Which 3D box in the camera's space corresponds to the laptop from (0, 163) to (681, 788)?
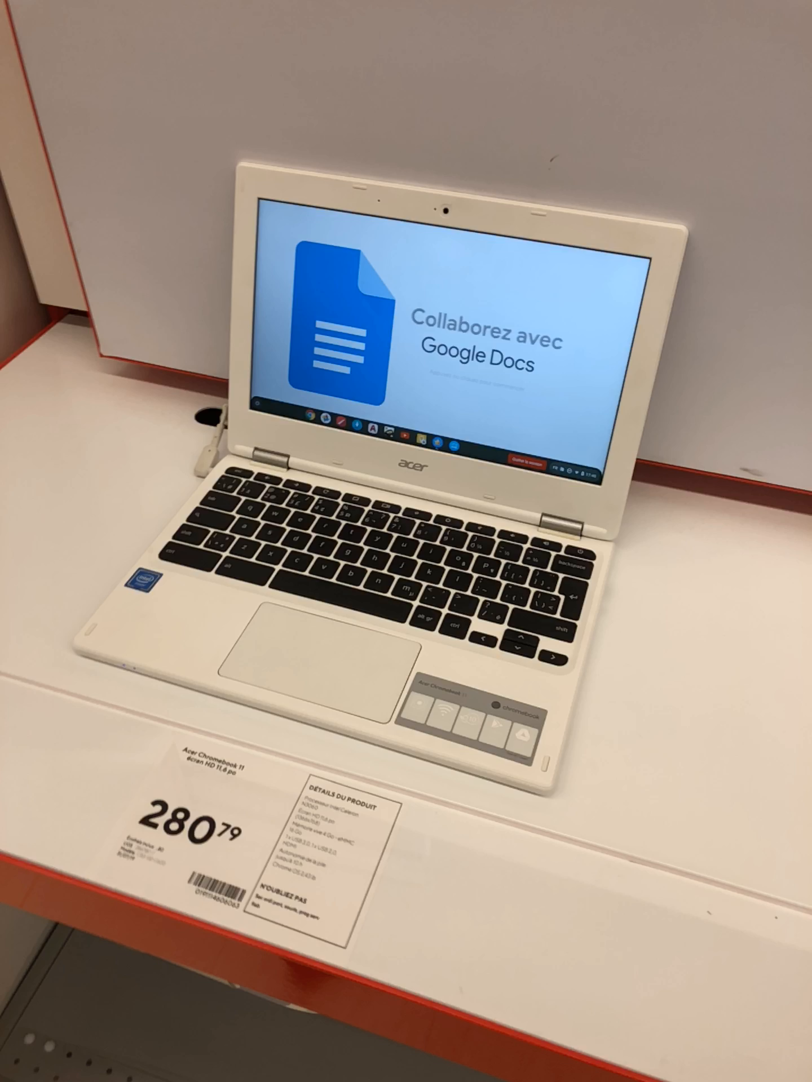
[{"bbox_3d":[-0.020,-0.059,0.515,0.282,0.188,0.260,13,45,14],"label":"laptop"}]
